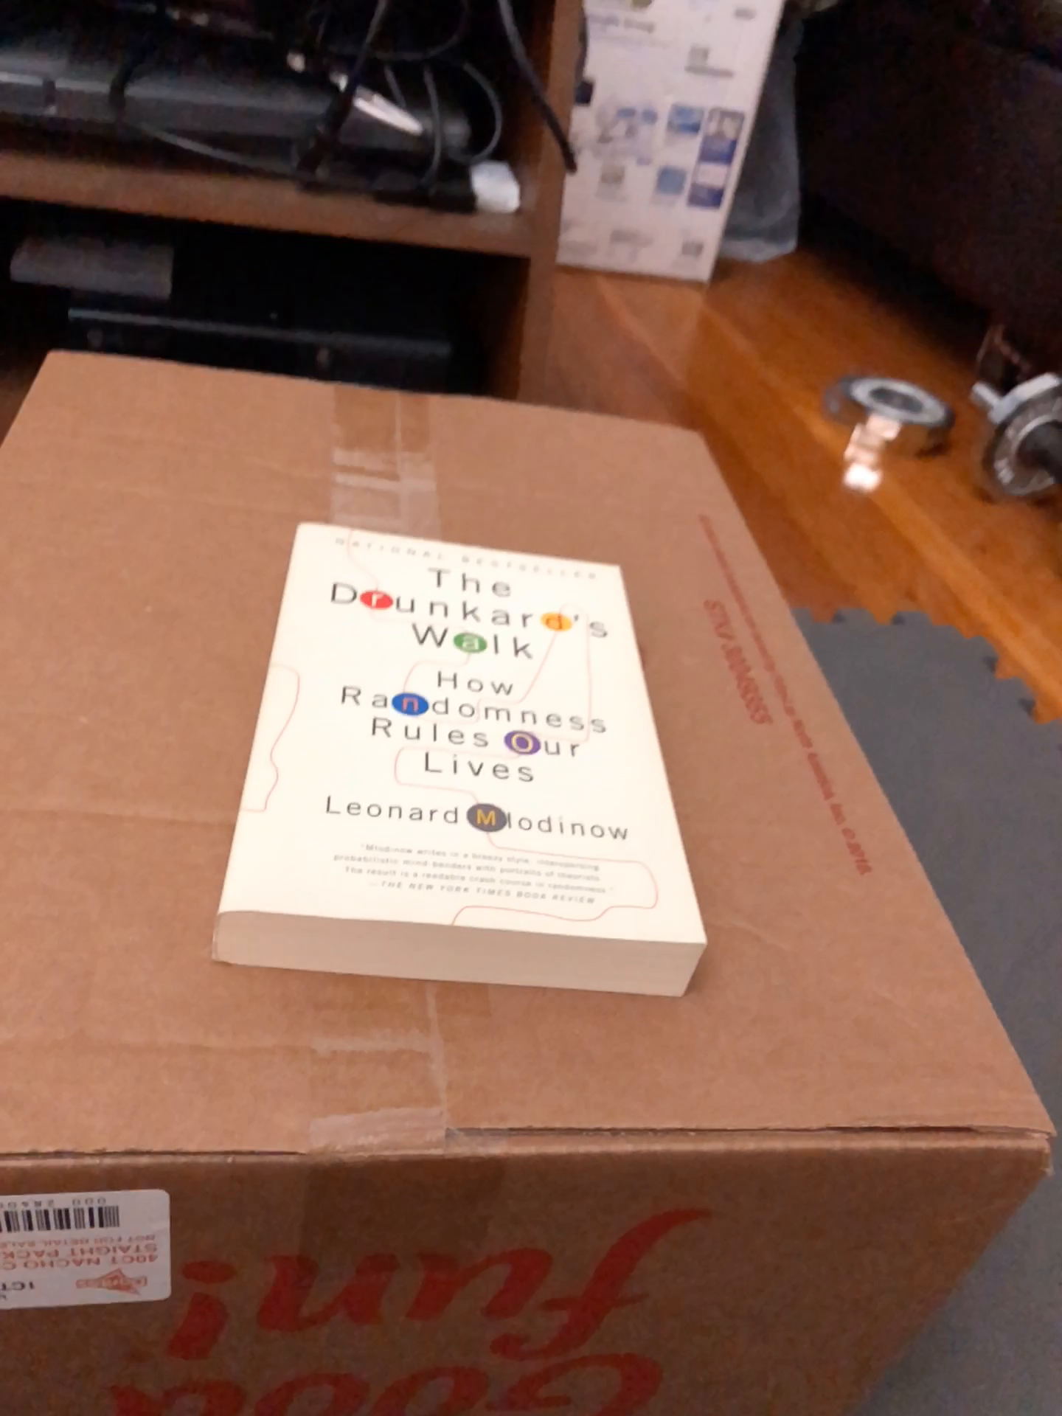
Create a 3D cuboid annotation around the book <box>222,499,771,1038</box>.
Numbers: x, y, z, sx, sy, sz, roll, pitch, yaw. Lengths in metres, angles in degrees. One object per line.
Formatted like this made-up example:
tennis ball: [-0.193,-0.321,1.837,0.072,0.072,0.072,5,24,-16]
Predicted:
book: [-0.016,0.007,0.393,0.140,0.040,0.211,5,37,-9]
